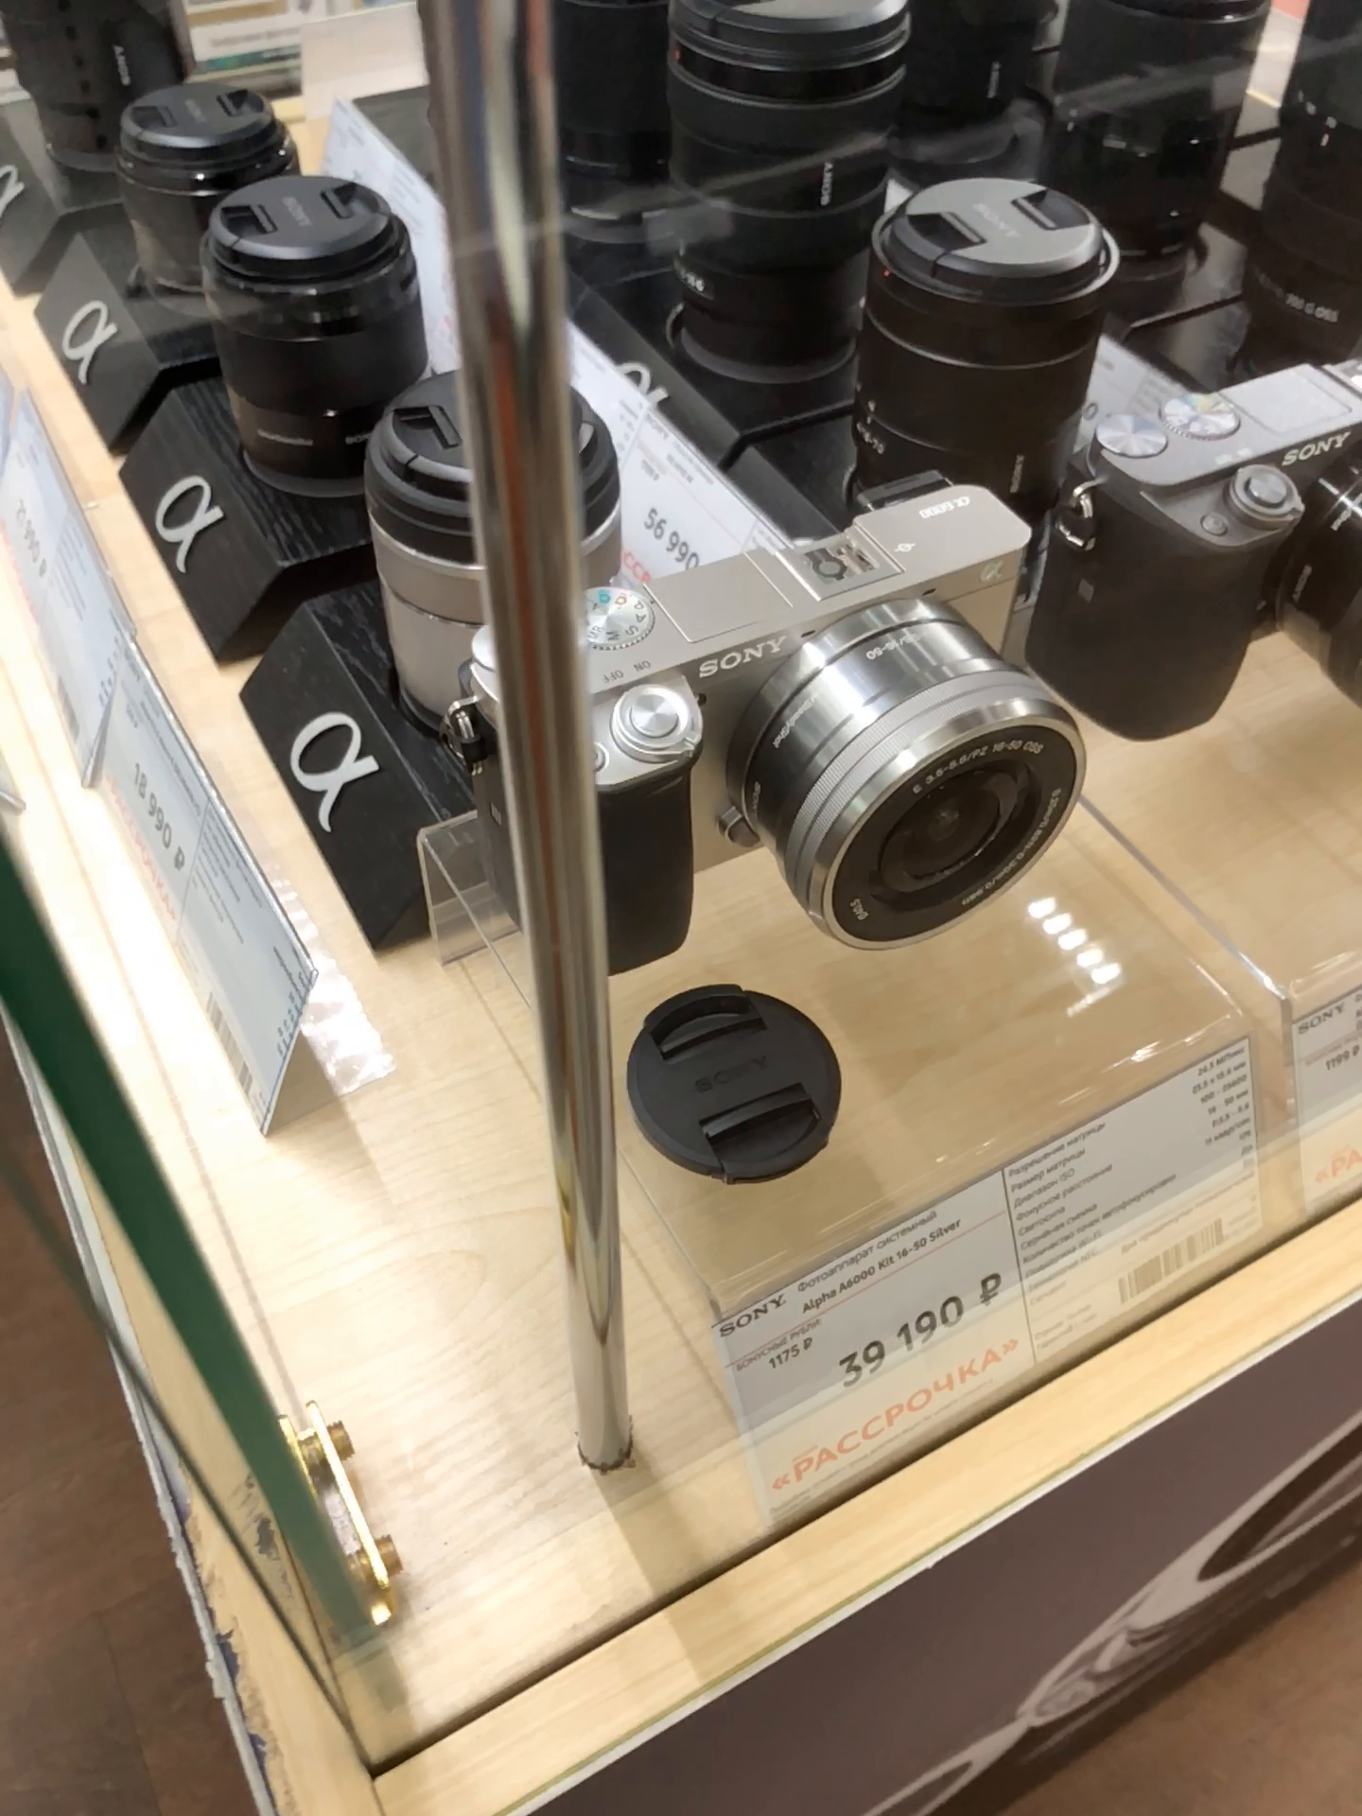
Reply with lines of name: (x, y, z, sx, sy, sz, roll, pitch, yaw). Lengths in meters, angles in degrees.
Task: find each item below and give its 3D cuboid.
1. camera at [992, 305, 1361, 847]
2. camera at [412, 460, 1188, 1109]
camera: (0.152, -0.081, 0.355, 0.127, 0.061, 0.076, -21, 53, -18)
camera: (0.021, -0.029, 0.306, 0.124, 0.061, 0.076, -21, 53, -18)
